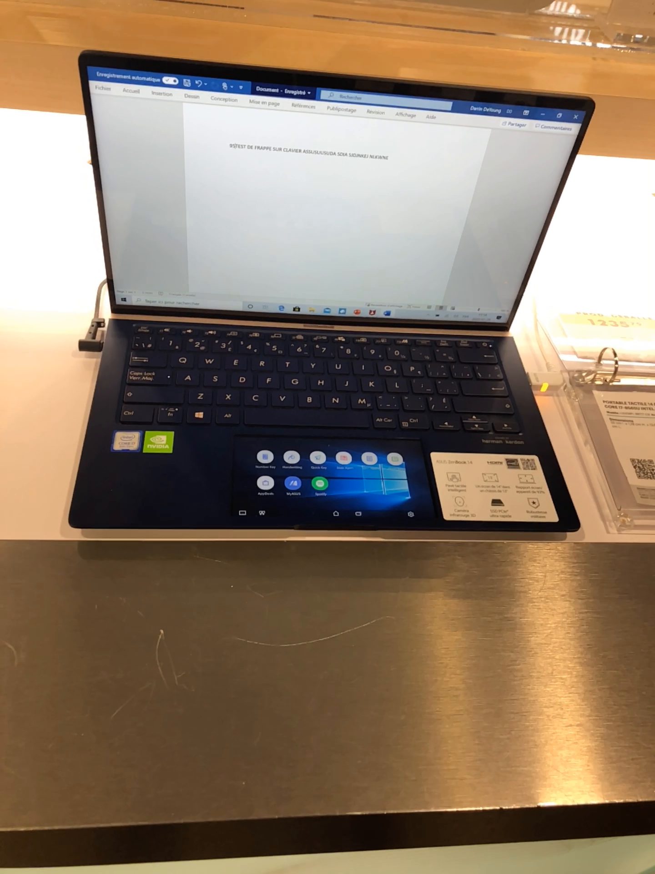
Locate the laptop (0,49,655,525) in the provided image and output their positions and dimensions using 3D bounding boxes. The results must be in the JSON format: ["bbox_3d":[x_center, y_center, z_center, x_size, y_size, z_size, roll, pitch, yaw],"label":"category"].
[{"bbox_3d":[0.009,-0.082,0.438,0.317,0.193,0.200,1,48,-8],"label":"laptop"}]
